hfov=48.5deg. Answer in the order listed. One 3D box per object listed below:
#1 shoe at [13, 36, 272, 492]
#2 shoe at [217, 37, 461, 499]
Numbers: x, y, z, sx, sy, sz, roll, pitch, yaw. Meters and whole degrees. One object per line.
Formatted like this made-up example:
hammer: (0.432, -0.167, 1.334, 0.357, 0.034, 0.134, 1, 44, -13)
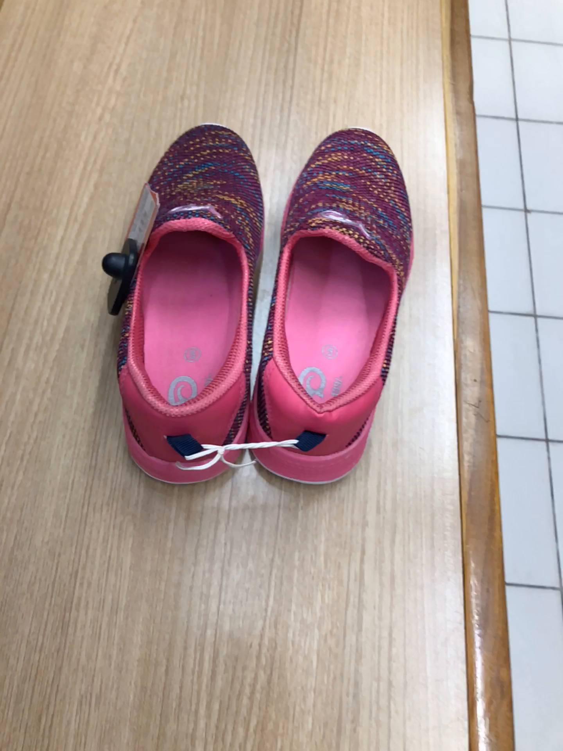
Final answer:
shoe: (-0.064, -0.066, 0.370, 0.105, 0.103, 0.245, 3, 67, -2)
shoe: (0.037, -0.065, 0.375, 0.105, 0.103, 0.245, 8, 67, 1)
